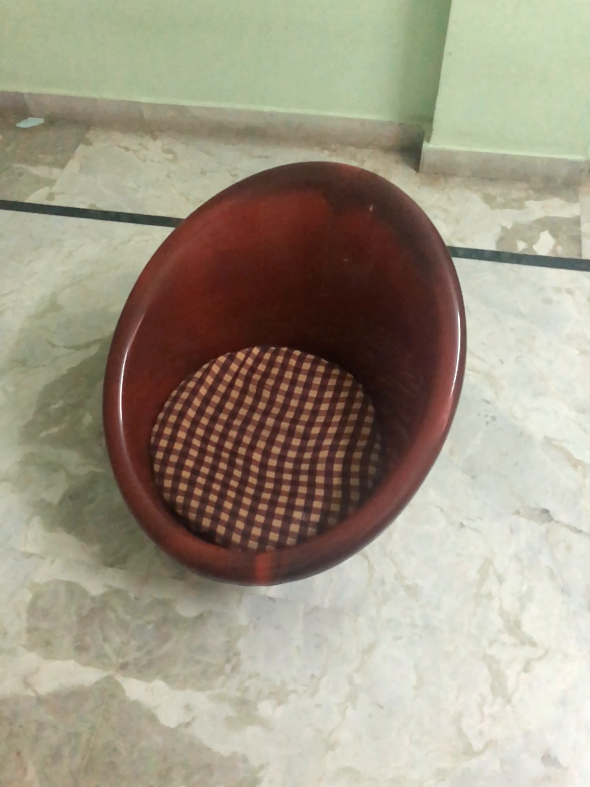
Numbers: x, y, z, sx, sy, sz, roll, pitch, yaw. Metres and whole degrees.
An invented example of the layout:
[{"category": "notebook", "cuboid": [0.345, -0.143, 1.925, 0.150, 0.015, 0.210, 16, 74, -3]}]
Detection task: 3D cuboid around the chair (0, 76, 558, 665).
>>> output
[{"category": "chair", "cuboid": [-0.033, -0.050, 1.087, 0.671, 0.547, 0.633, 17, 57, 14]}]
